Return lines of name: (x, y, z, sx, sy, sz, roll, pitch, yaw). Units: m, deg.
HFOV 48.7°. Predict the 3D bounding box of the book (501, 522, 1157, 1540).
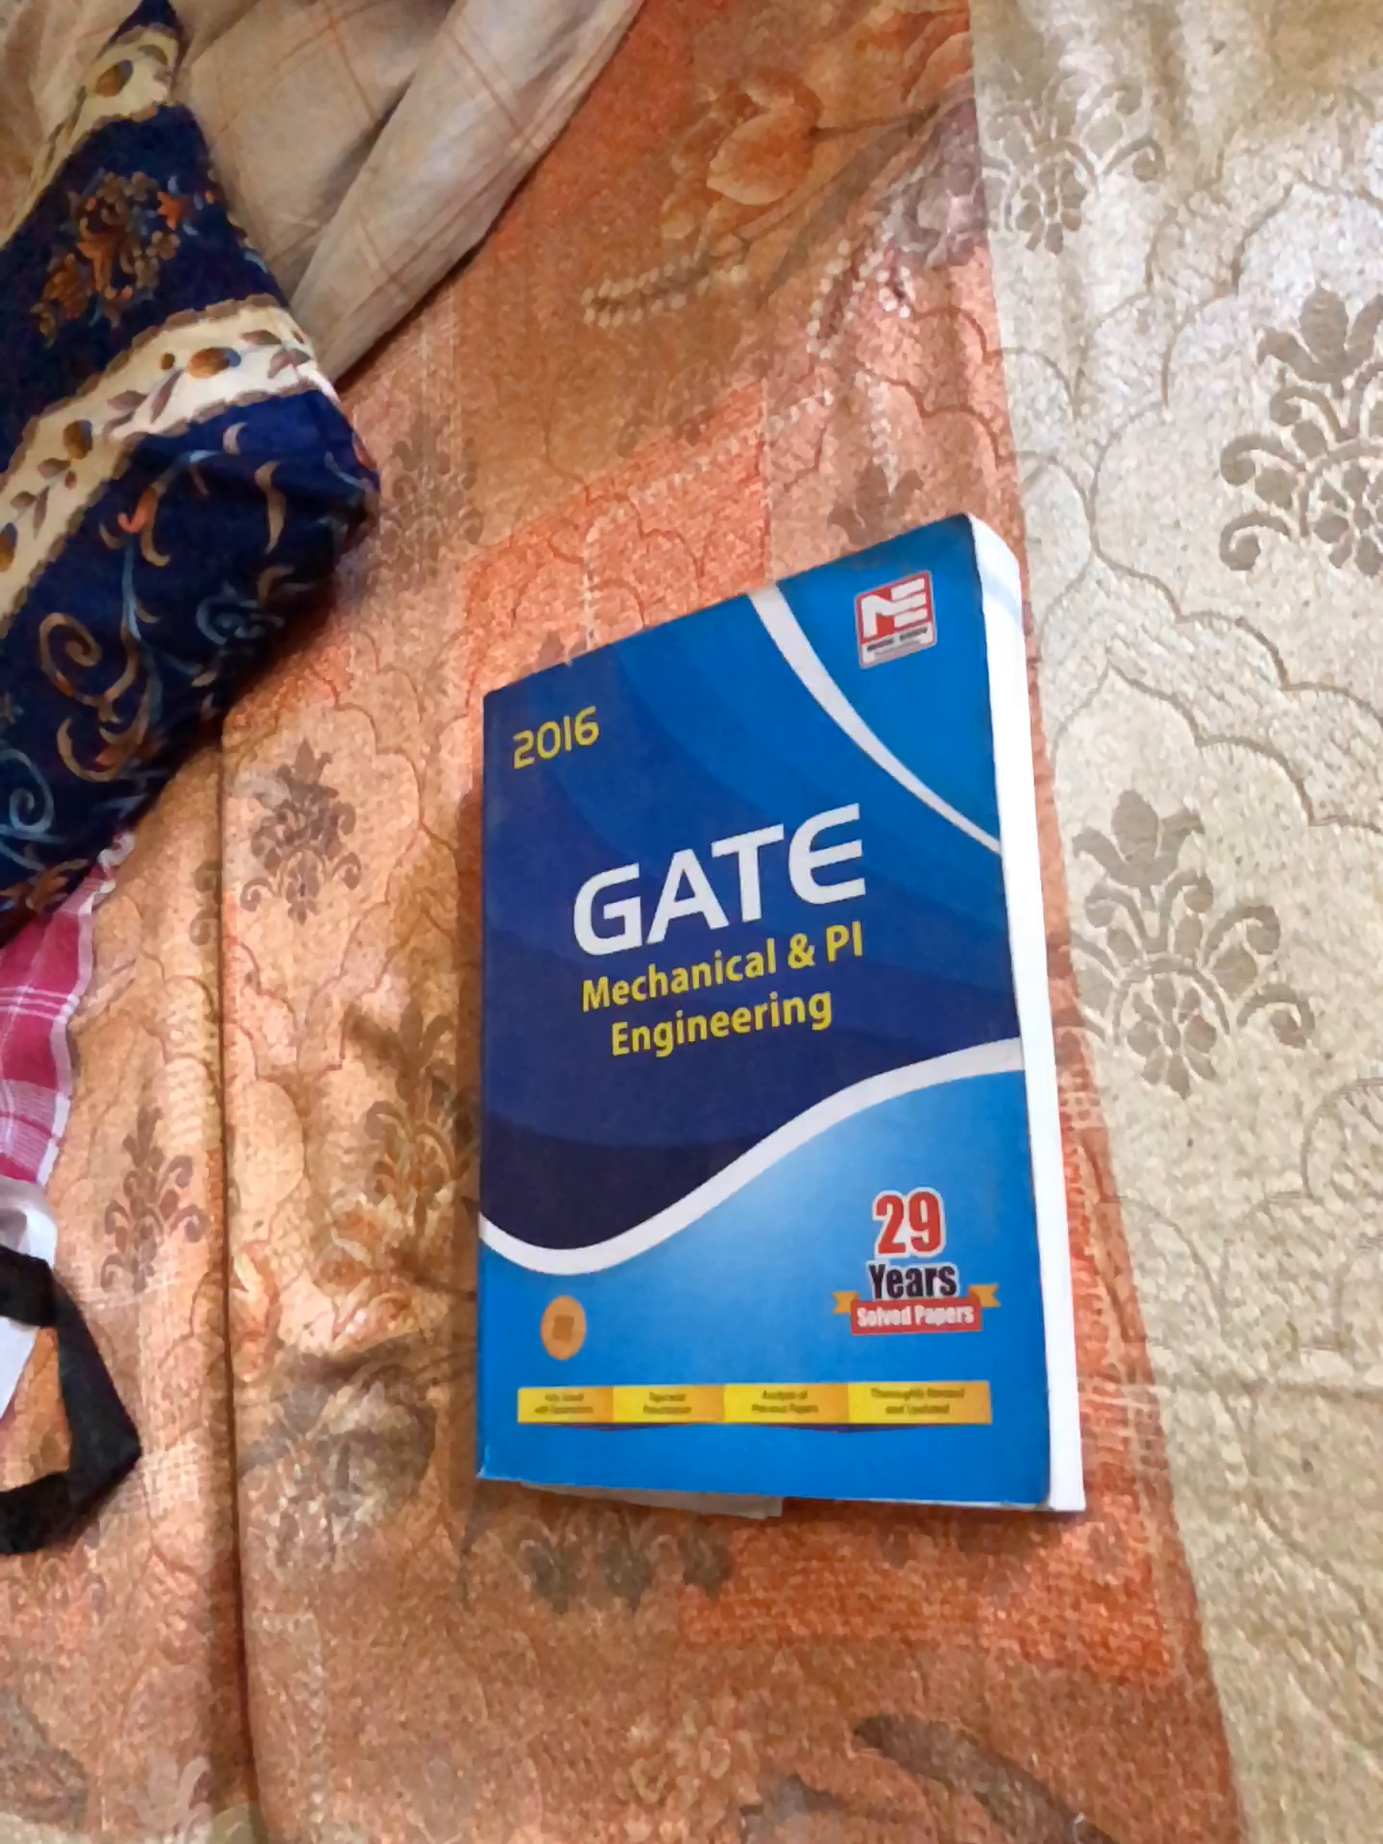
book: (0.032, 0.039, 0.493, 0.201, 0.051, 0.280, -12, 71, 37)
